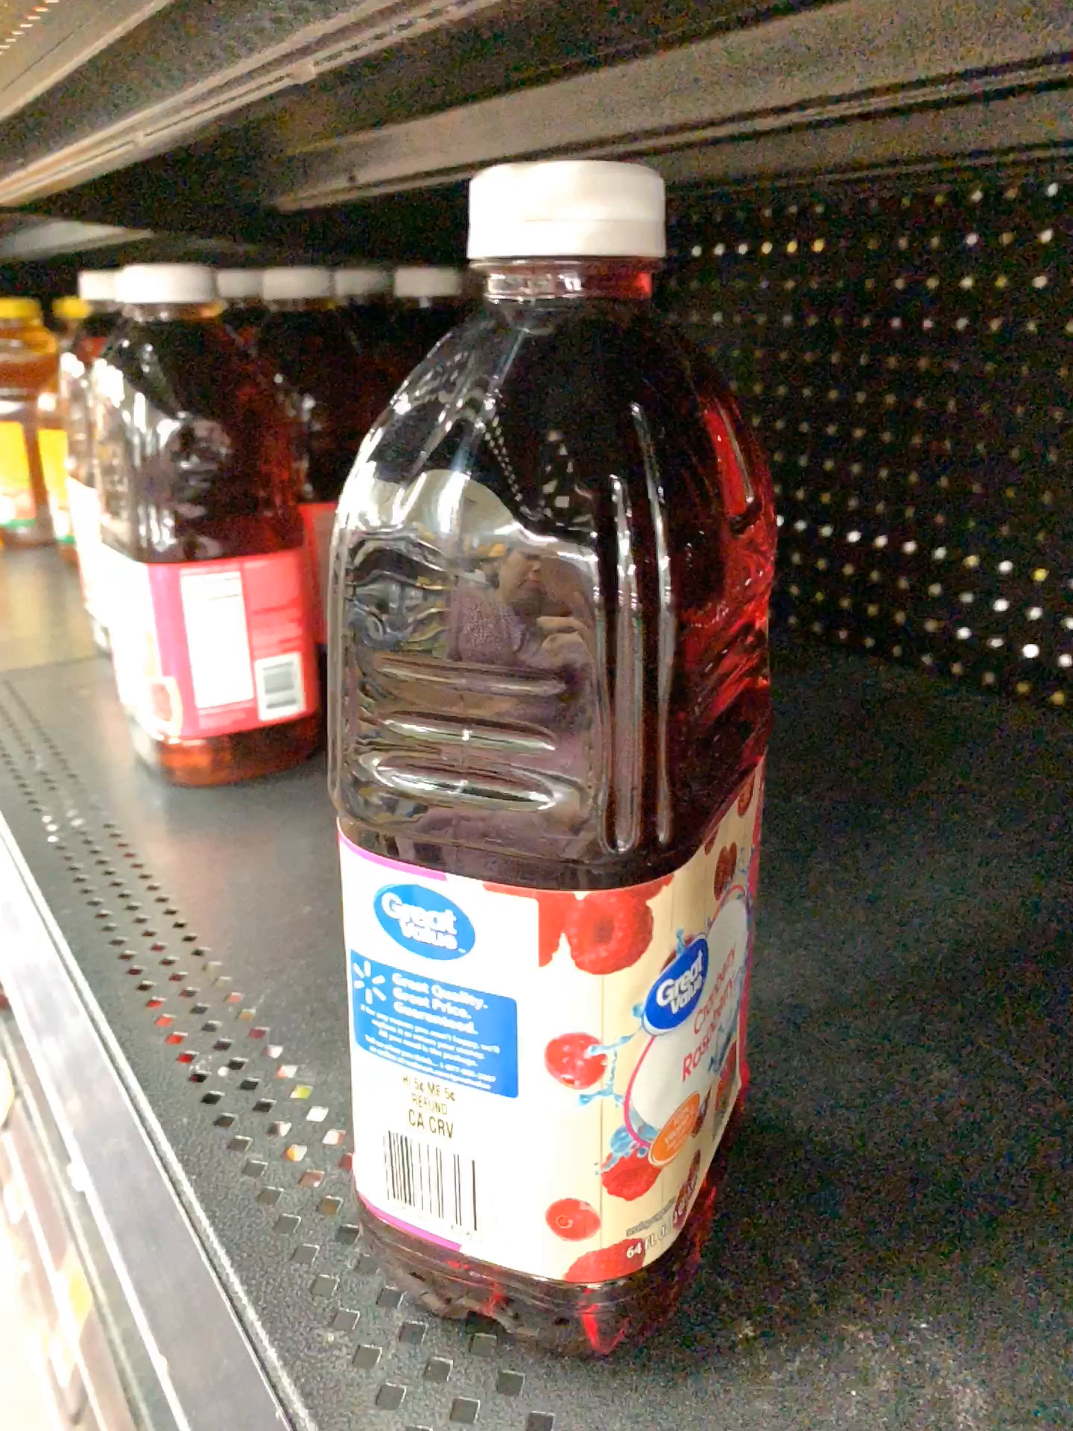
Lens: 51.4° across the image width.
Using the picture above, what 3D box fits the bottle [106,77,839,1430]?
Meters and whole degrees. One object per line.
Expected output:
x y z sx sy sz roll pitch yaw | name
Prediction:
0.004 0.011 0.262 0.100 0.259 0.125 6 22 20 | bottle
